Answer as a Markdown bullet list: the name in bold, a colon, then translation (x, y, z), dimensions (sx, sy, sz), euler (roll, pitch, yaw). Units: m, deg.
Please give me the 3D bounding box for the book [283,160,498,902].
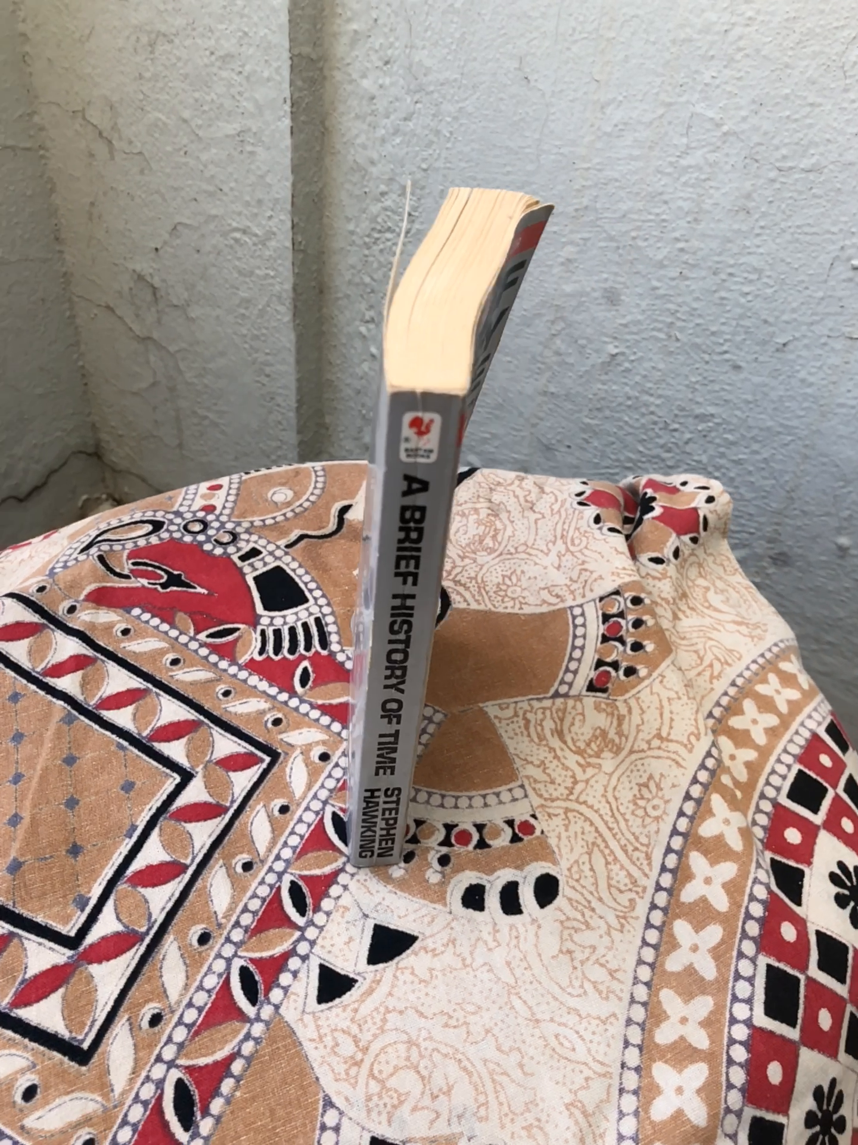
- **book**: translation (-0.012, -0.009, 0.279), dimensions (0.030, 0.169, 0.131), euler (9, 42, 1)
